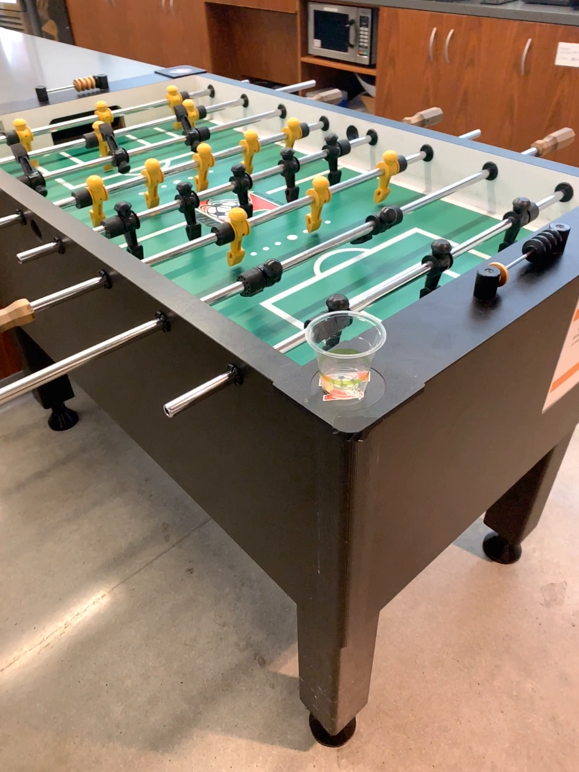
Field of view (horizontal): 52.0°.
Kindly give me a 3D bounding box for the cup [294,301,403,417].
[{"bbox_3d":[0.054,-0.027,0.546,0.070,0.060,0.070,-1,40,1],"label":"cup"}]
